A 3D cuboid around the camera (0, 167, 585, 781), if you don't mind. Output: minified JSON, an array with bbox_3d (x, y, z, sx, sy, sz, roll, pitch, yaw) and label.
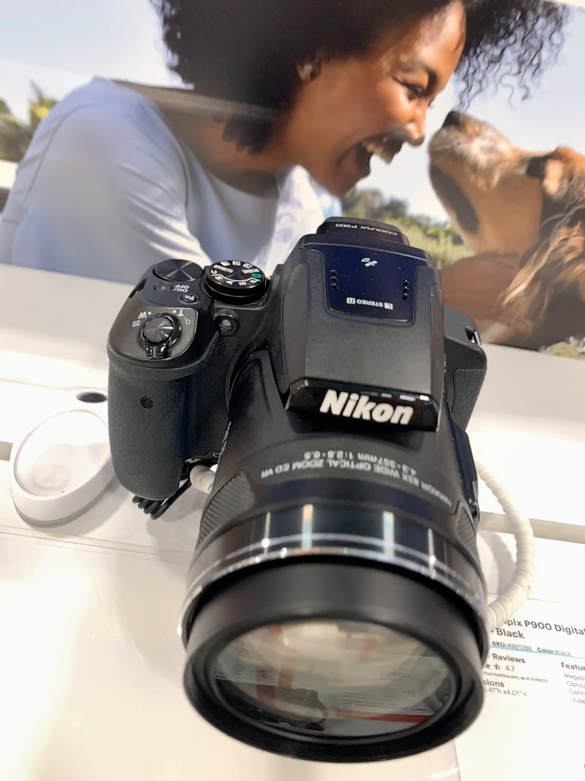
[{"bbox_3d":[0.007,0.013,0.194,0.140,0.100,0.154,10,34,-4],"label":"camera"}]
